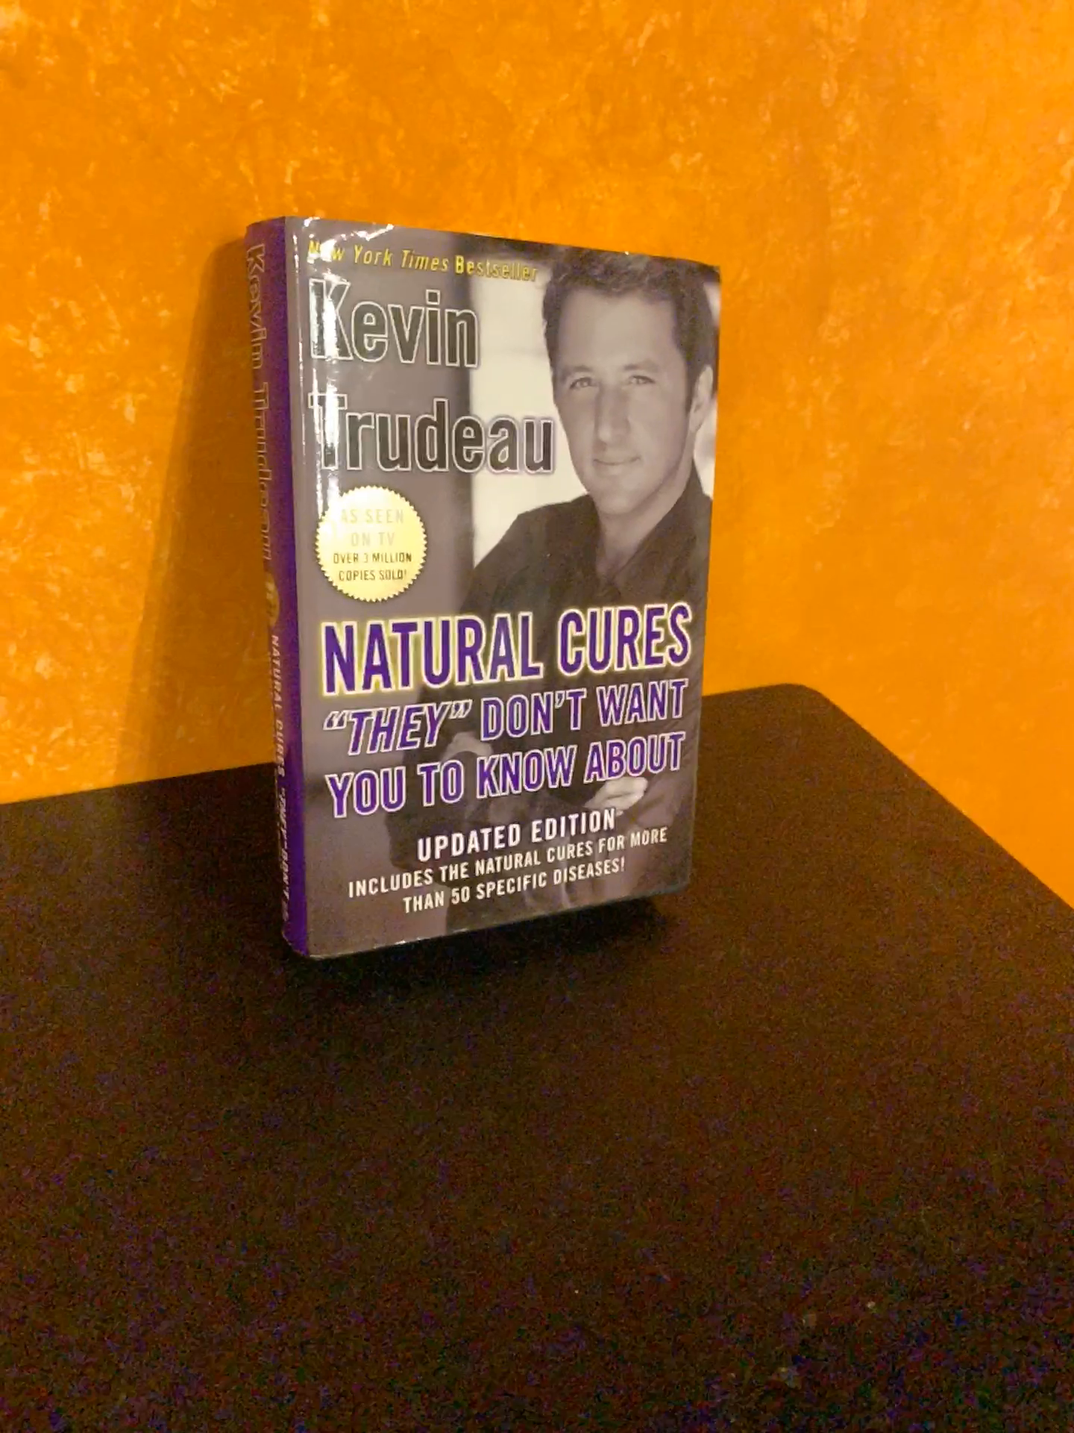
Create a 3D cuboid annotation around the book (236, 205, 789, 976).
[{"bbox_3d":[-0.004,-0.043,0.392,0.180,0.229,0.050,-6,14,-27],"label":"book"}]
